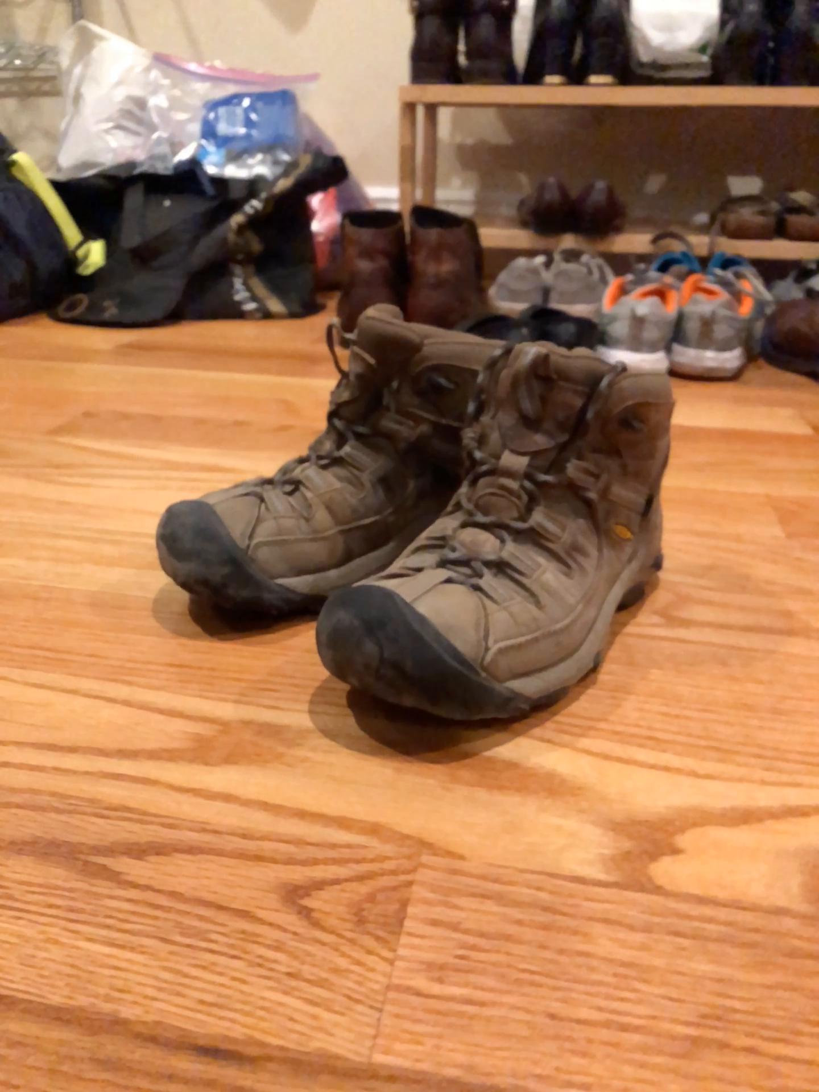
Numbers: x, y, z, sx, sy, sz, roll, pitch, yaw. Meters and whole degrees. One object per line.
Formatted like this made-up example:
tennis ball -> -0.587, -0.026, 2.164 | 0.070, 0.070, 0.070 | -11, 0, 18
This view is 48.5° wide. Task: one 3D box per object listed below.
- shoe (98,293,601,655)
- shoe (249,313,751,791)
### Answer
shoe -> -0.025, -0.058, 0.527 | 0.260, 0.139, 0.108 | -16, 29, -34
shoe -> 0.058, -0.023, 0.450 | 0.108, 0.139, 0.260 | 19, 29, 34
